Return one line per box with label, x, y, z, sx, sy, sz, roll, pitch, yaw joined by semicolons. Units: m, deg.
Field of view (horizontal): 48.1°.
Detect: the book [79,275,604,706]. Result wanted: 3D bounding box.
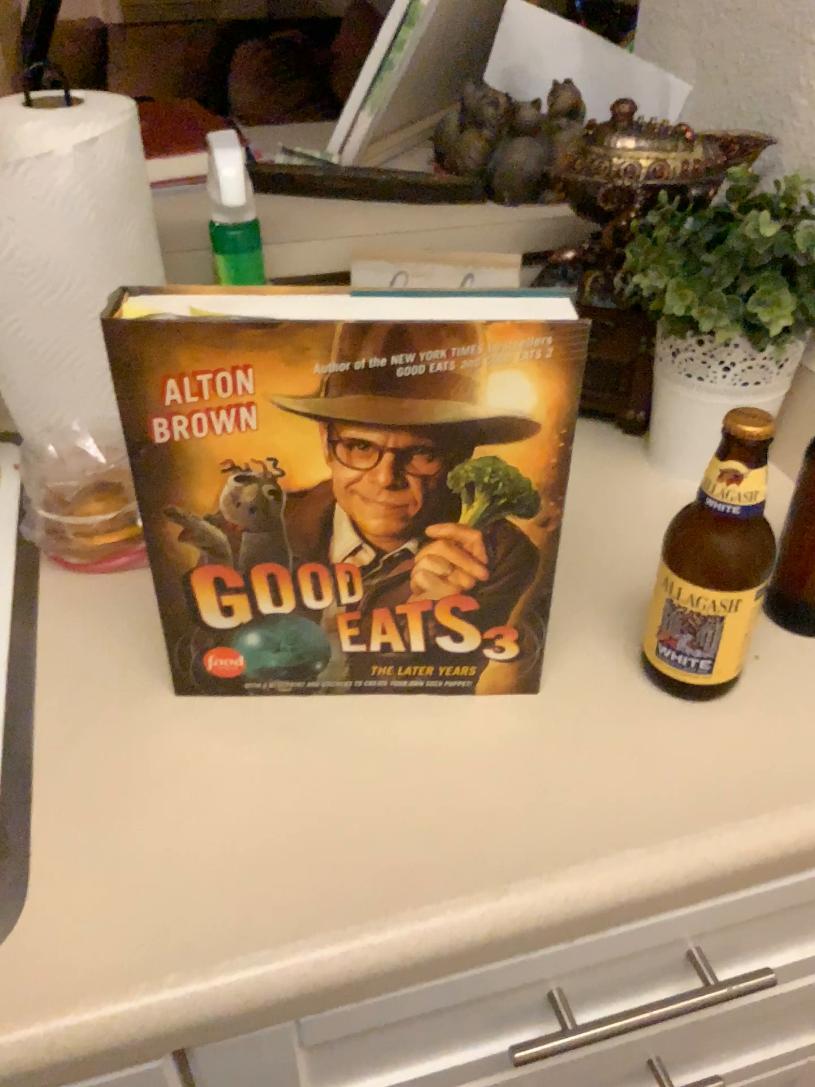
book;-0.030;-0.018;0.511;0.240;0.250;0.050;-1;36;-1
